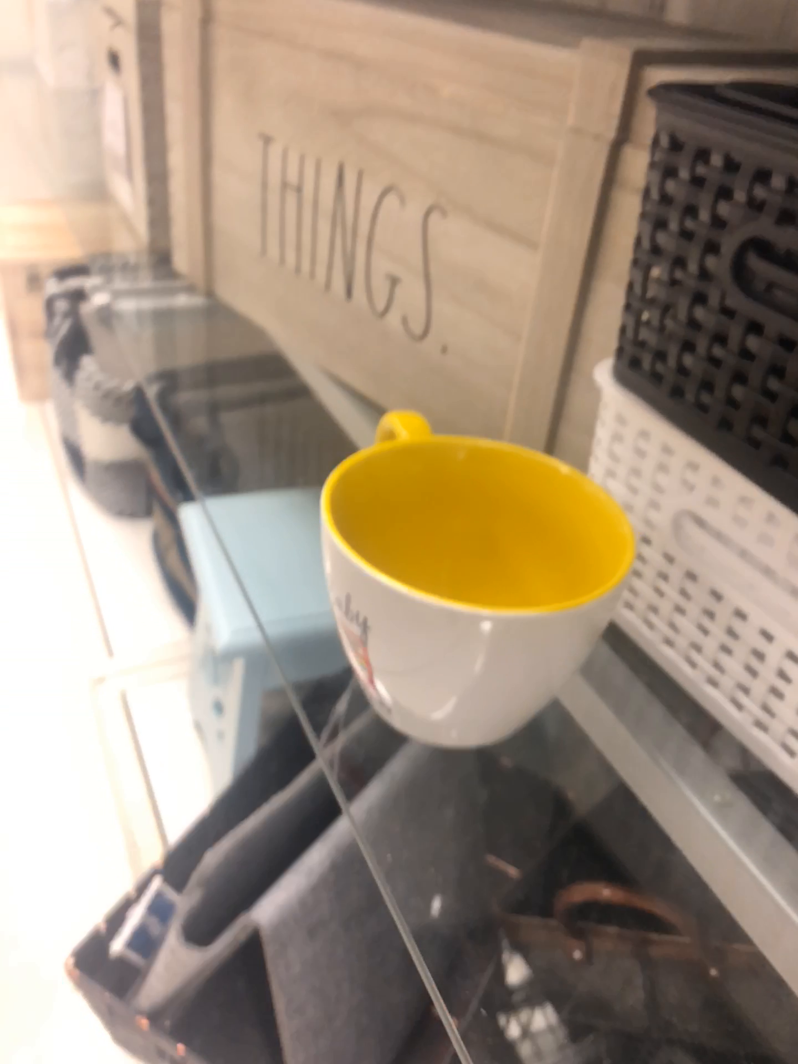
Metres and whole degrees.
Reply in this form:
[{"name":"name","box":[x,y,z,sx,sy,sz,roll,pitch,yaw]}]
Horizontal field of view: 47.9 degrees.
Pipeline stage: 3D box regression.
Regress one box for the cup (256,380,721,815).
[{"name":"cup","box":[0.023,0.014,0.376,0.126,0.076,0.157,-11,39,-20]}]
